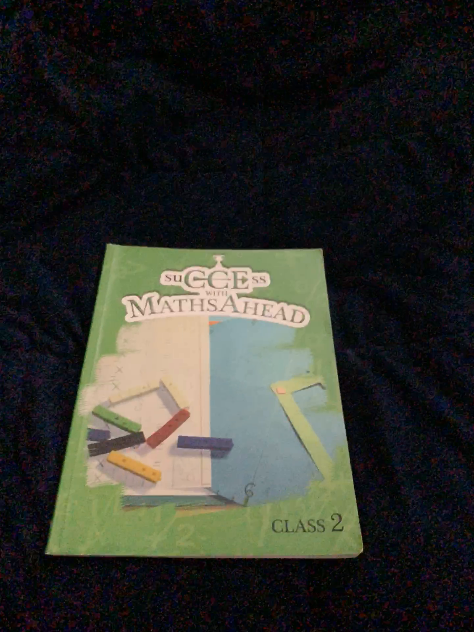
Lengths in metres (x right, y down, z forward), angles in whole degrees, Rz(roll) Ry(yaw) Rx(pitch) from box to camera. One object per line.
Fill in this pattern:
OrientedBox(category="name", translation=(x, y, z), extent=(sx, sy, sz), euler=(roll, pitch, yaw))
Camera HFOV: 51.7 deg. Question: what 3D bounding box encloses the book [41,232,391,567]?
OrientedBox(category="book", translation=(-0.012, 0.049, 0.404), extent=(0.230, 0.020, 0.281), euler=(2, 58, -3))
